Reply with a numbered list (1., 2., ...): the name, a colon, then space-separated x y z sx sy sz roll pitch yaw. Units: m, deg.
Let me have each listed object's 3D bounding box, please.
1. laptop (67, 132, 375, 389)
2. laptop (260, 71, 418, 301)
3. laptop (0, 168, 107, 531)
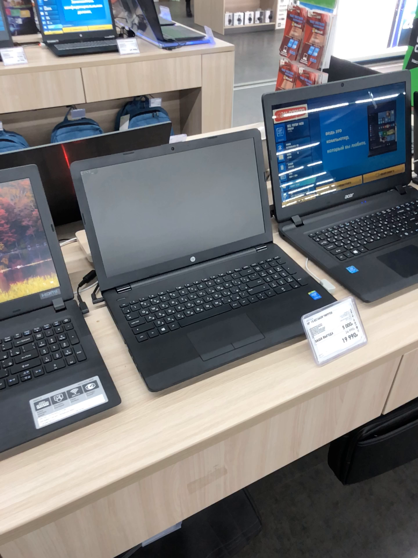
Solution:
1. laptop: 0.004 -0.064 0.811 0.377 0.215 0.335 -18 42 -22
2. laptop: 0.383 -0.233 0.980 0.397 0.267 0.396 -17 40 -20
3. laptop: -0.376 0.047 0.657 0.359 0.226 0.351 -17 40 -23
